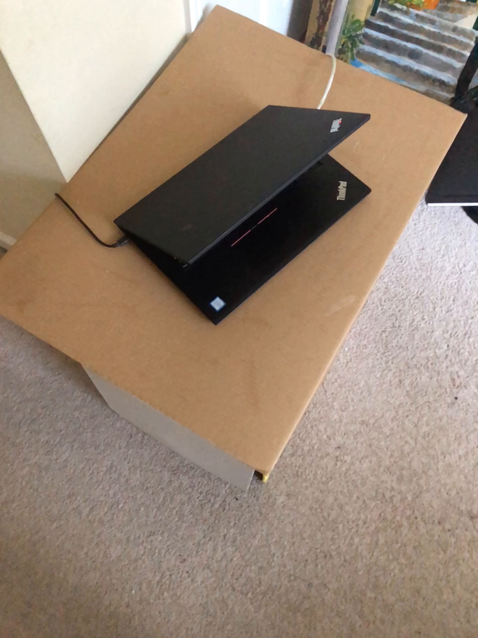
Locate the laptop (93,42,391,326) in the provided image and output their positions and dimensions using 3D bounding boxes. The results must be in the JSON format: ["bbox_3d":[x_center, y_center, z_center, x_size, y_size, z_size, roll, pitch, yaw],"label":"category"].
[{"bbox_3d":[0.008,-0.201,0.764,0.334,0.140,0.231,-41,72,-15],"label":"laptop"}]
